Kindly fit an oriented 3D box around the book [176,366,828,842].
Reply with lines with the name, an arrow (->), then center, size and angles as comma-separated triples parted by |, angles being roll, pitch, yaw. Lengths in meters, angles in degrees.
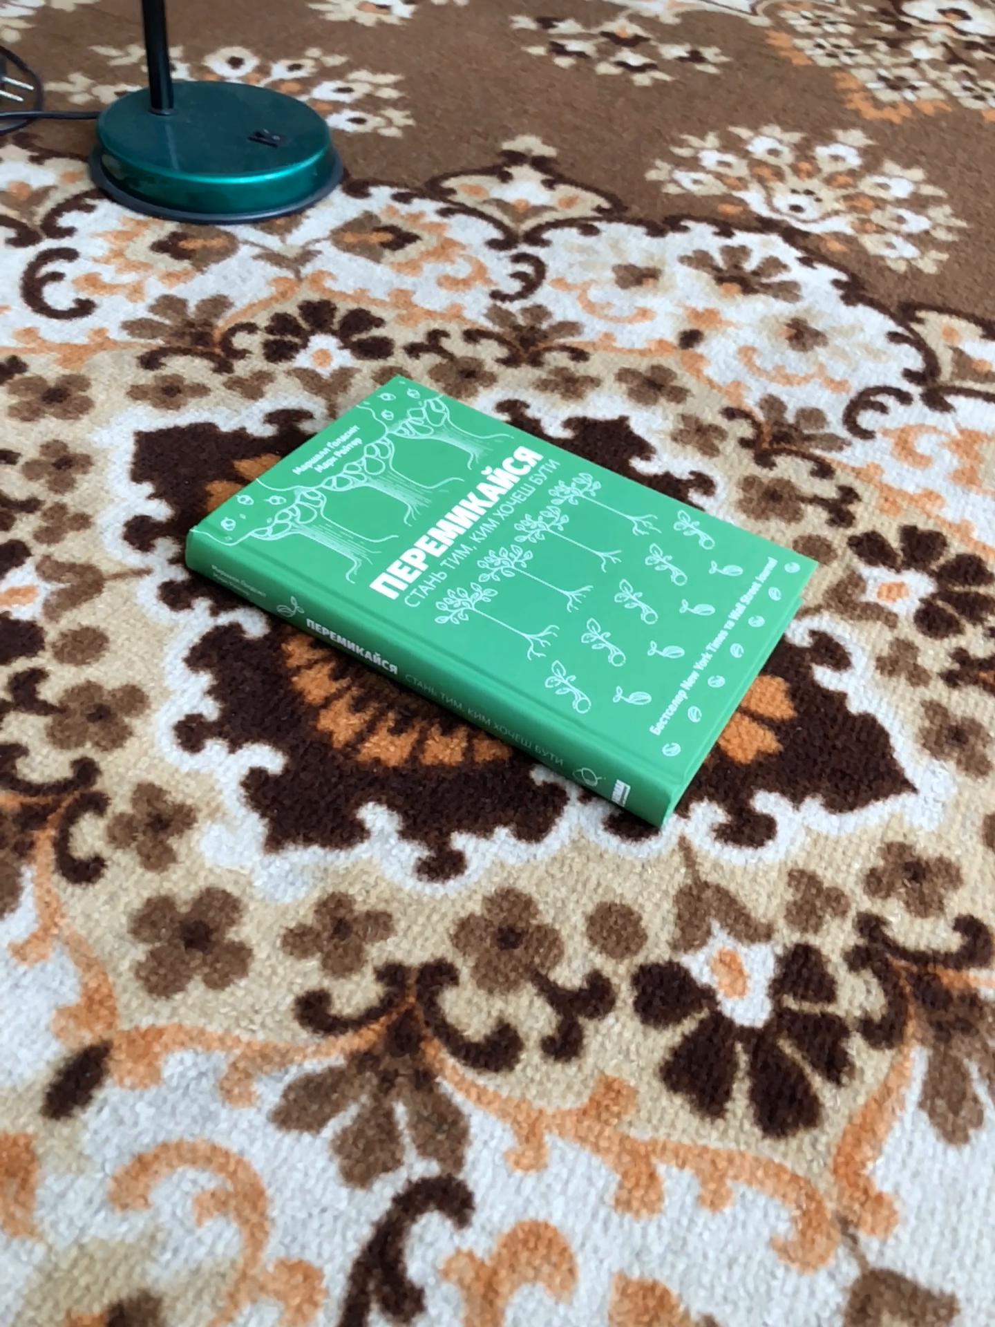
book -> 0.005, -0.036, 0.415 | 0.202, 0.023, 0.138 | 28, 50, 17
